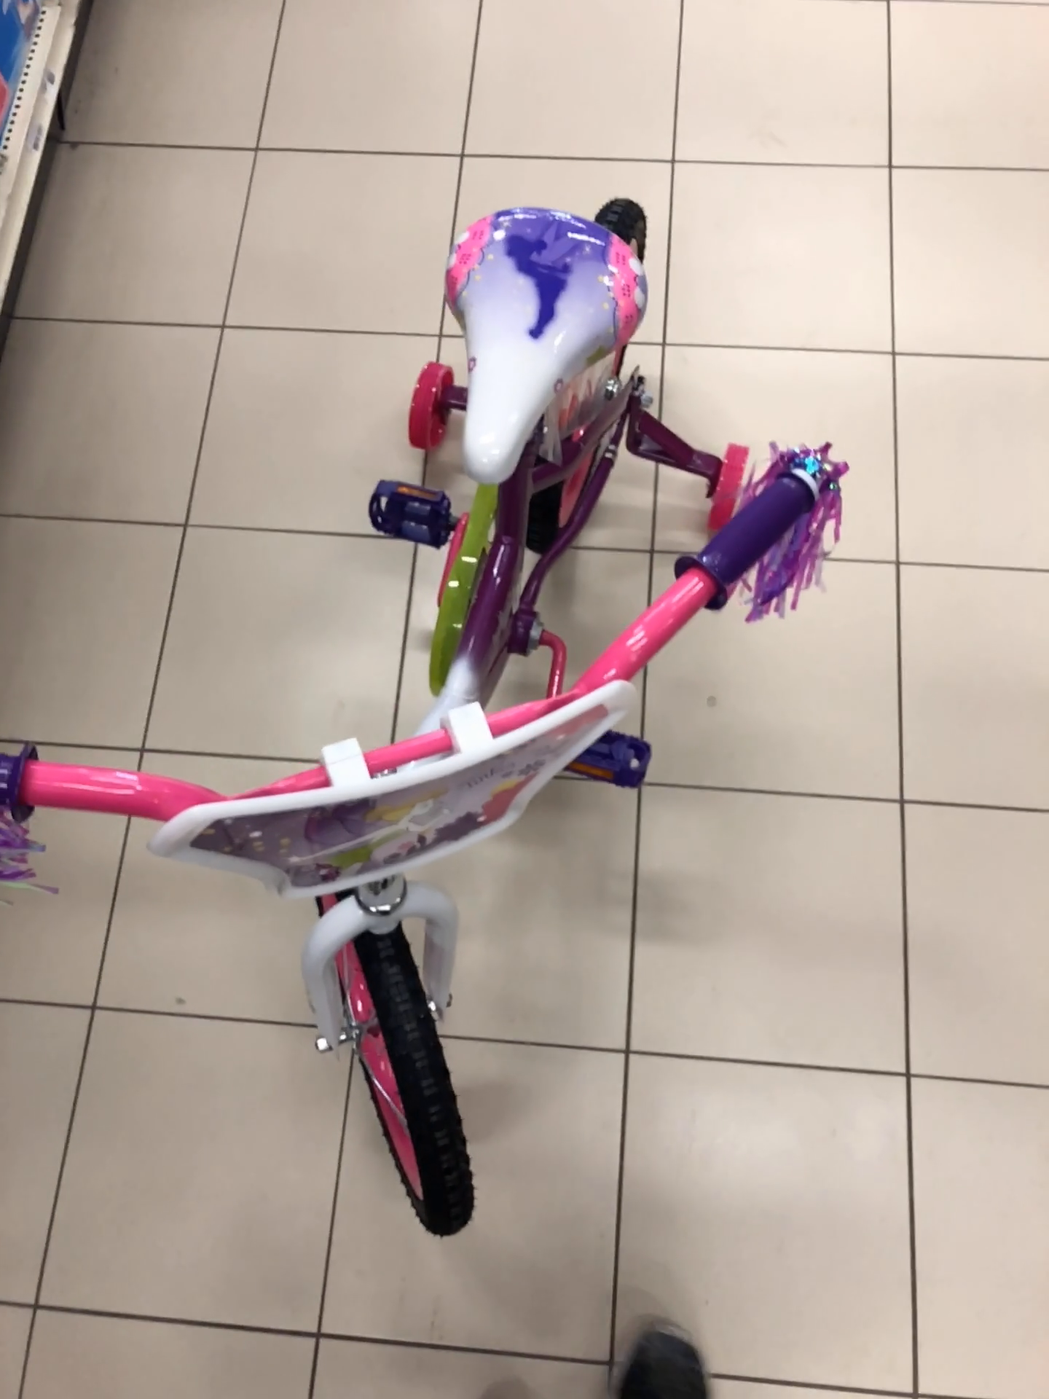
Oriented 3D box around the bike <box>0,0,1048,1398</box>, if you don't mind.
[{"bbox_3d":[-0.007,-0.100,0.975,0.595,0.812,1.068,9,73,5],"label":"bike"}]
